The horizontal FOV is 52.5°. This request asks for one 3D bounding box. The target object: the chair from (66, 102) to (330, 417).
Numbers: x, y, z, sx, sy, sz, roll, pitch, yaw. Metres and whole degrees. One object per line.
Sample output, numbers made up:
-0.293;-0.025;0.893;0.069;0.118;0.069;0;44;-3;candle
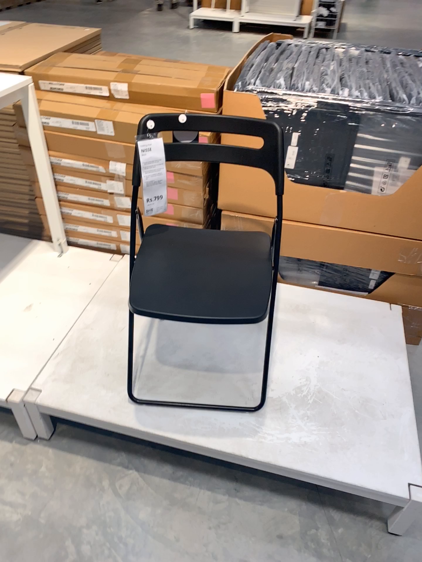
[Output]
-0.019;-0.047;1.125;0.460;0.657;0.452;4;39;2;chair
